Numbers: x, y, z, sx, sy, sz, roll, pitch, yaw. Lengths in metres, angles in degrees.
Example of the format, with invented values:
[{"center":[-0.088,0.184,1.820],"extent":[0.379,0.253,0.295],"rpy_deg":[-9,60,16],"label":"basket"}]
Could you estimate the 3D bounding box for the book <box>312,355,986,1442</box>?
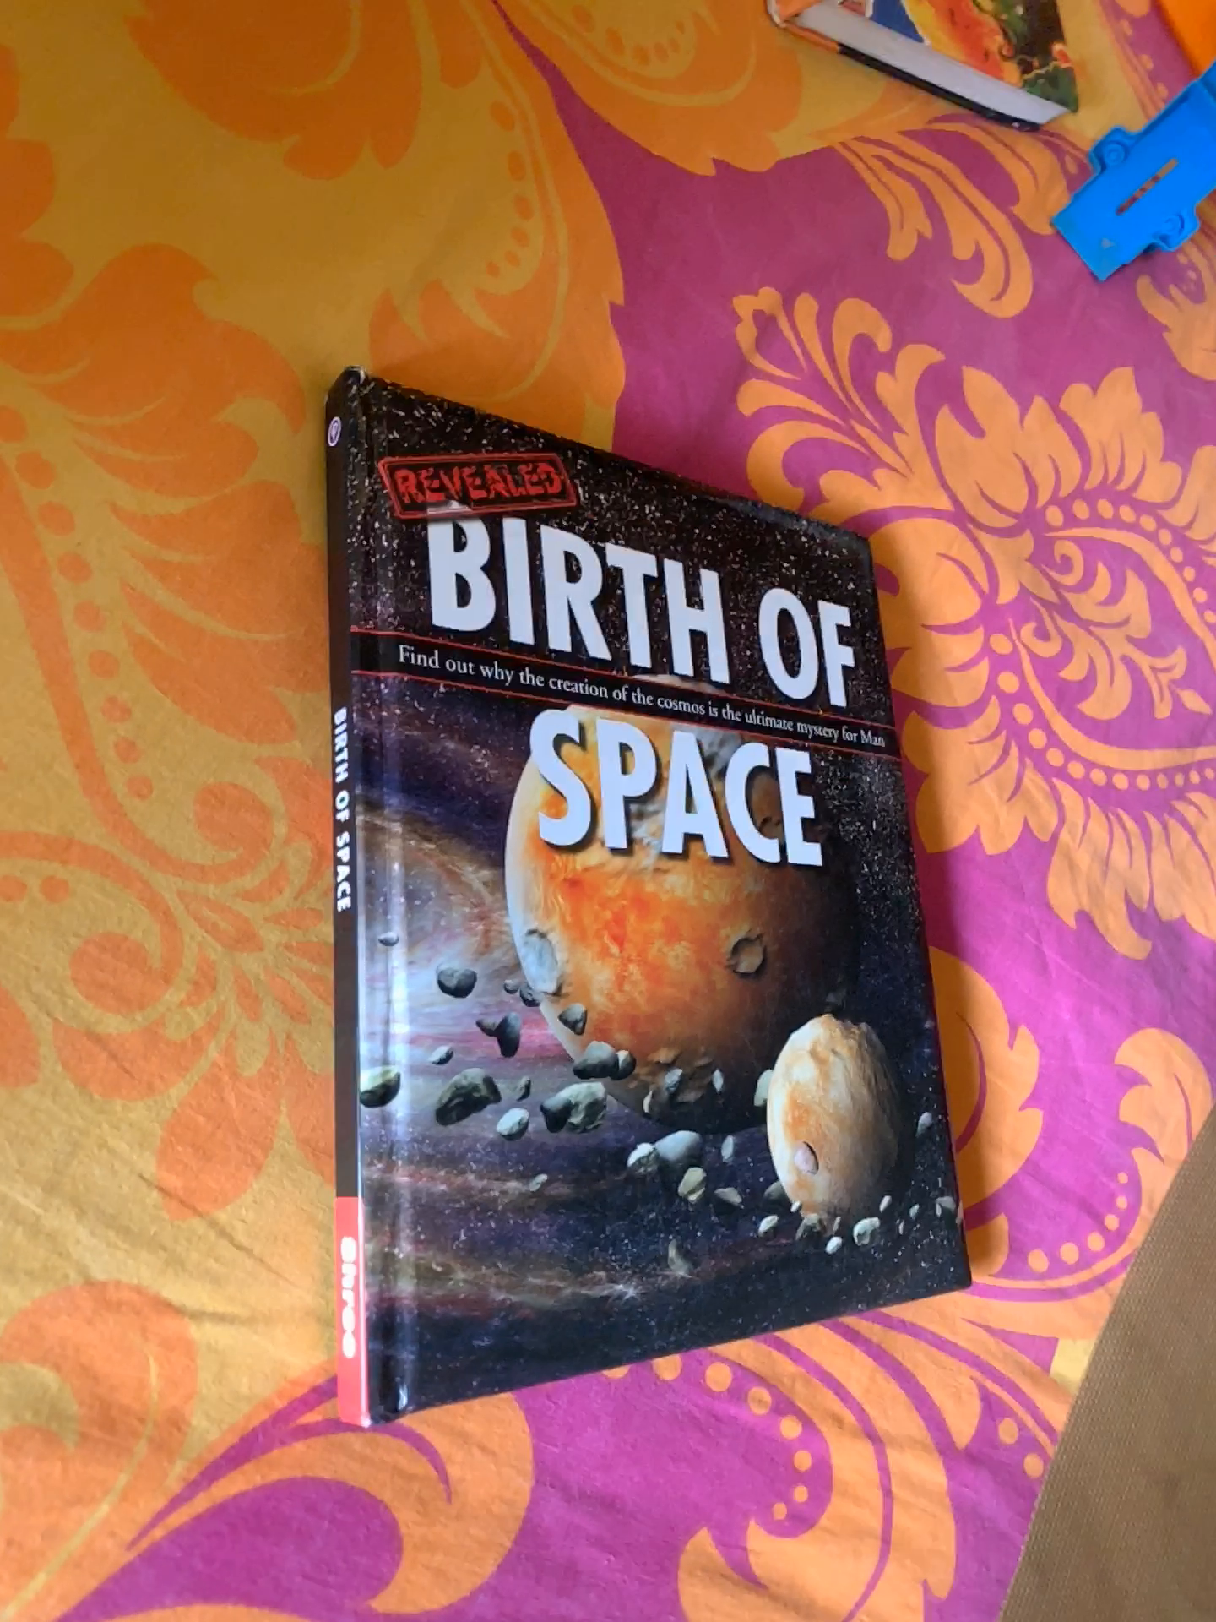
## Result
[{"center":[0.019,0.019,0.364],"extent":[0.212,0.020,0.258],"rpy_deg":[6,73,-36],"label":"book"}]
